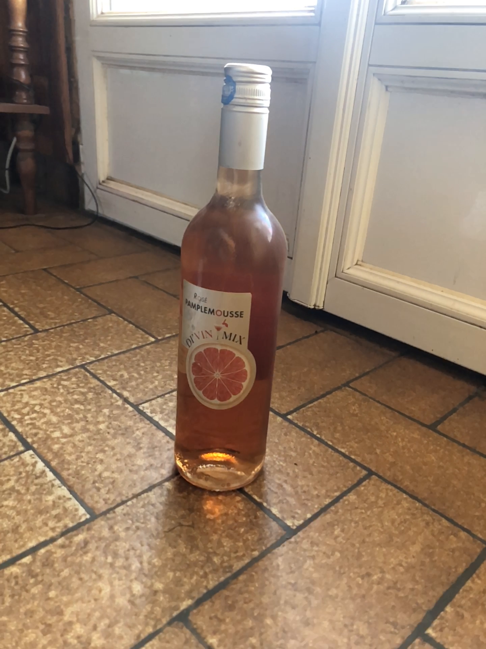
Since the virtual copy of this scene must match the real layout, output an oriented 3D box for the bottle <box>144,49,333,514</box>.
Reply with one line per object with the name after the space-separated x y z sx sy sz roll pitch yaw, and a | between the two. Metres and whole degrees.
-0.011 -0.022 0.368 0.080 0.288 0.081 4 24 -2 | bottle
